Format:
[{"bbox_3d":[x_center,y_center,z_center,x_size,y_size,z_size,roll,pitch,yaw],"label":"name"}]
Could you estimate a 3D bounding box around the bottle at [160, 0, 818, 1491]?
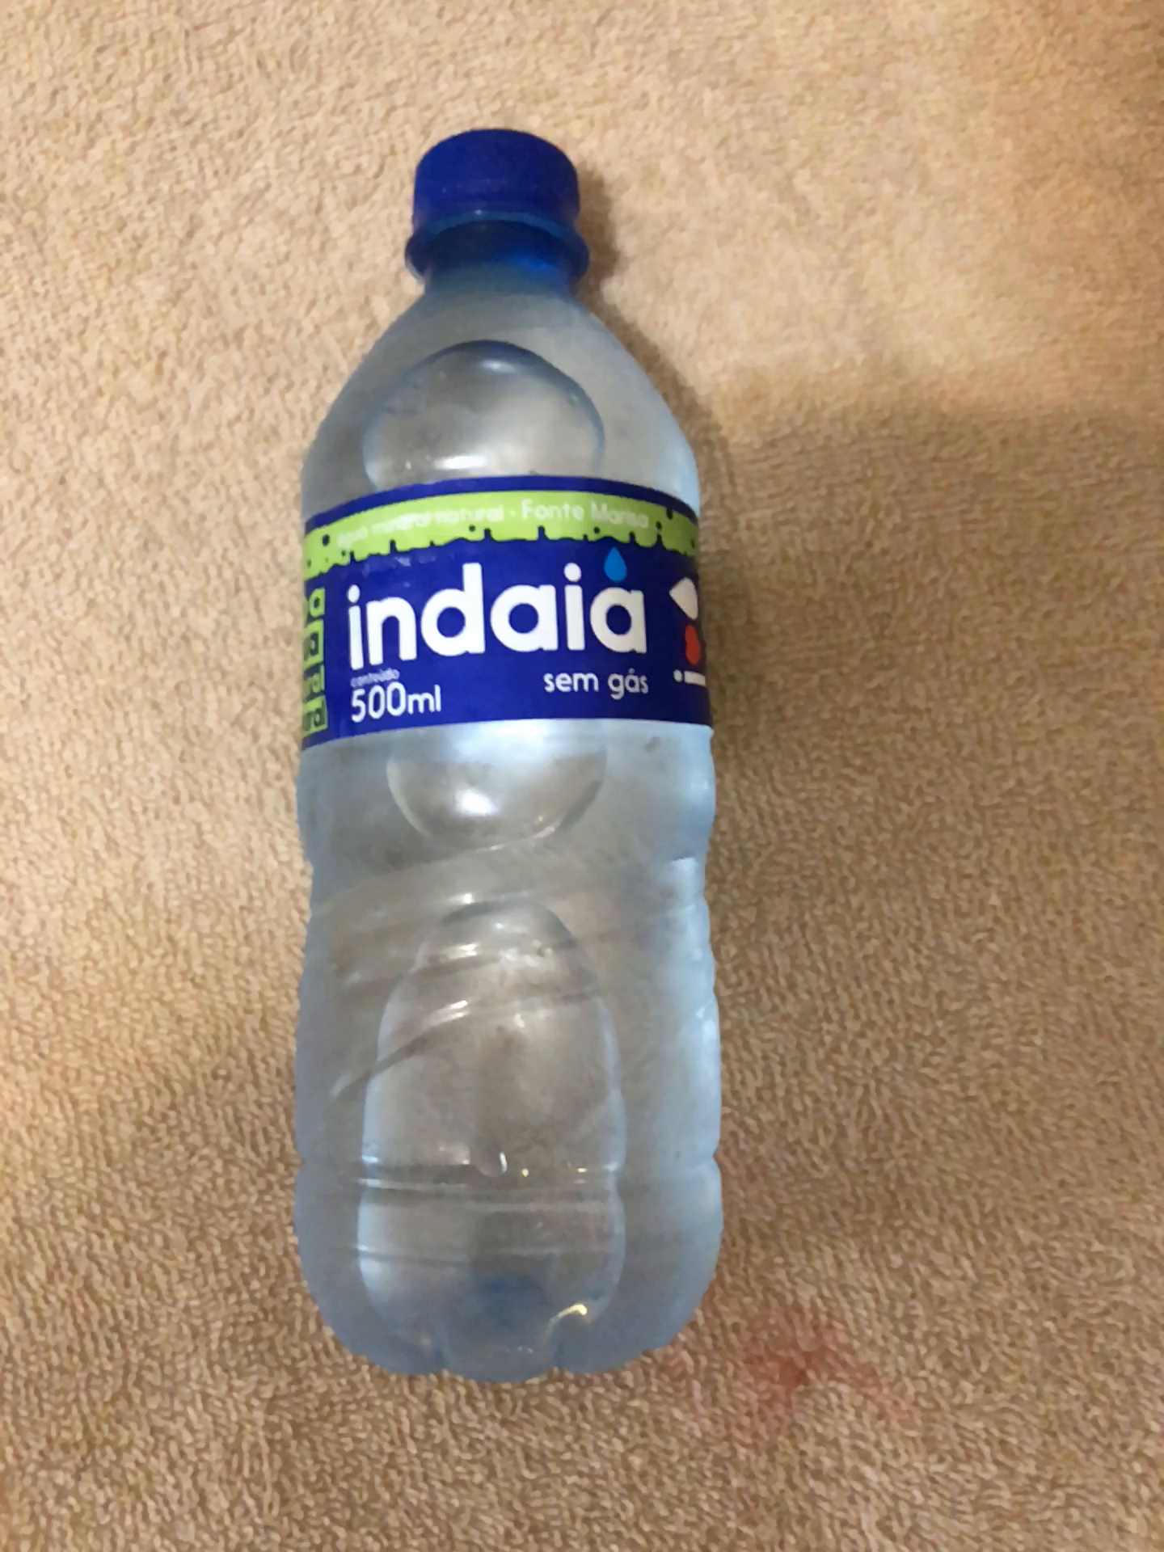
[{"bbox_3d":[-0.016,-0.012,0.205,0.080,0.050,0.210,-4,81,3],"label":"bottle"}]
